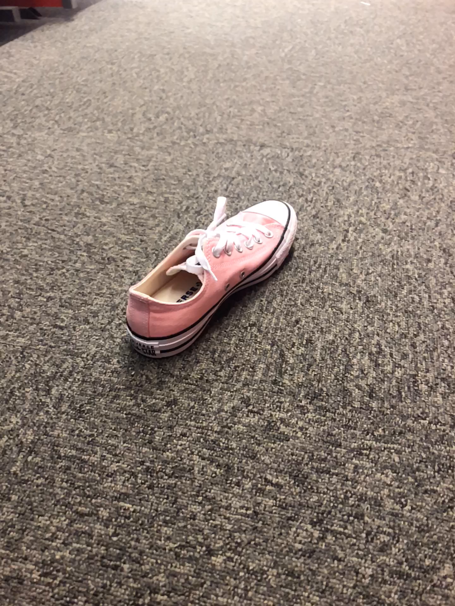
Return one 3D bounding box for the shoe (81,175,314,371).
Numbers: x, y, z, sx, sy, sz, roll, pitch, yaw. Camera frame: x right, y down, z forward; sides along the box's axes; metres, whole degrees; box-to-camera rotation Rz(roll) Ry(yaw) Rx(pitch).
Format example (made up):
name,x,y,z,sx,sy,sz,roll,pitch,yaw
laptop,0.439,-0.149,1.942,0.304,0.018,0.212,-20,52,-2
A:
name,x,y,z,sx,sy,sz,roll,pitch,yaw
shoe,-0.015,-0.051,0.544,0.100,0.060,0.282,23,43,24
